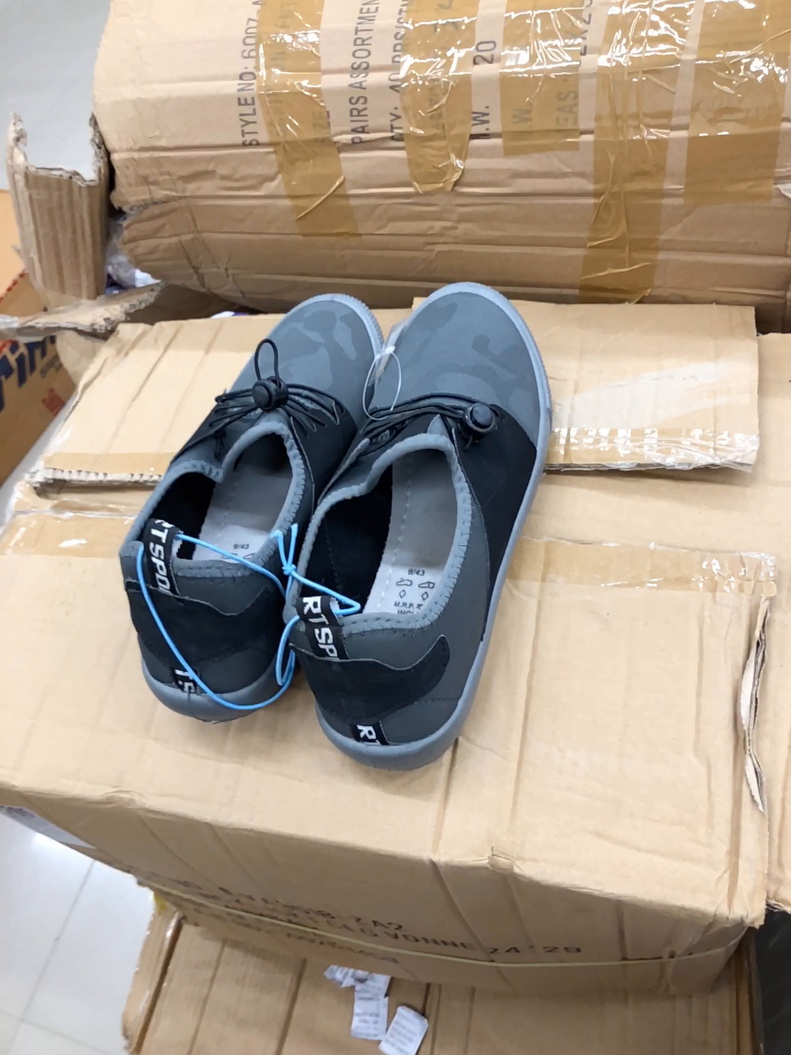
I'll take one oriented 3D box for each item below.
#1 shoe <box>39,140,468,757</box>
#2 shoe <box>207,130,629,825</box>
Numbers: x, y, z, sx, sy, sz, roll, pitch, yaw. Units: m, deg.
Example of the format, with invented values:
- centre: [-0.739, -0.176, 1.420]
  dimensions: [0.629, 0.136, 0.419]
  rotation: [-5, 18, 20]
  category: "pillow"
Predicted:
- centre: [-0.047, -0.052, 0.480]
  dimensions: [0.110, 0.149, 0.301]
  rotation: [2, 56, 17]
  category: "shoe"
- centre: [0.038, -0.038, 0.416]
  dimensions: [0.110, 0.129, 0.301]
  rotation: [5, 57, 18]
  category: "shoe"
